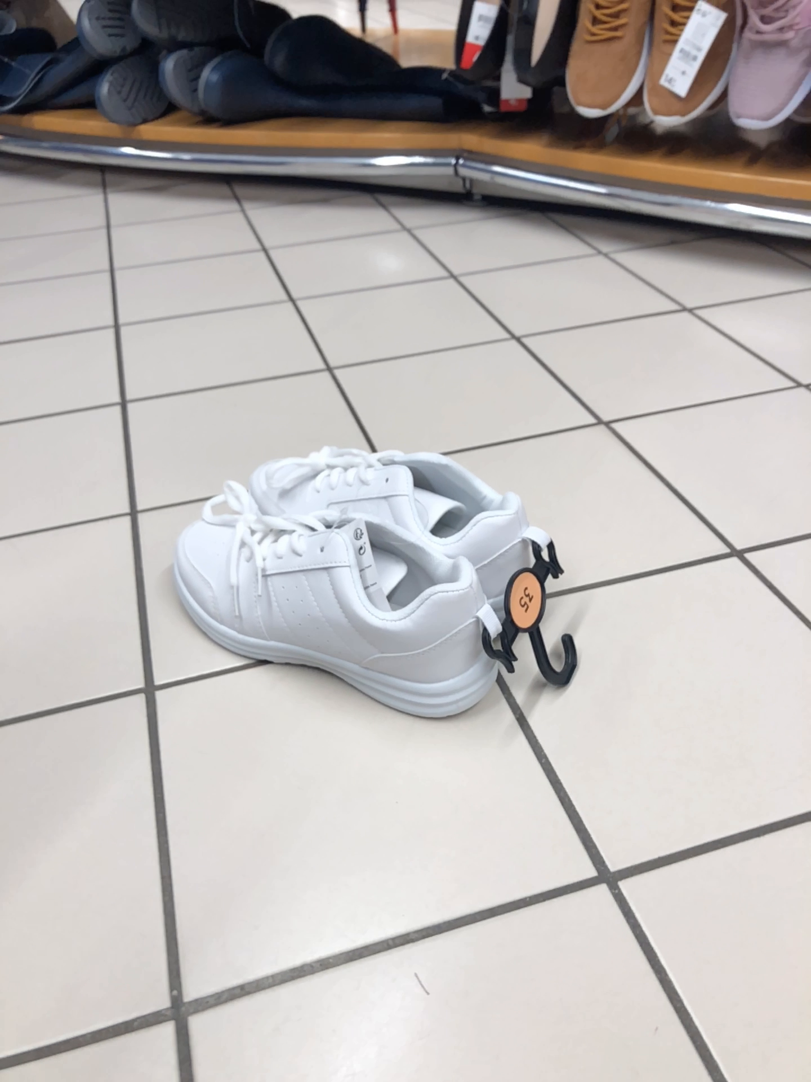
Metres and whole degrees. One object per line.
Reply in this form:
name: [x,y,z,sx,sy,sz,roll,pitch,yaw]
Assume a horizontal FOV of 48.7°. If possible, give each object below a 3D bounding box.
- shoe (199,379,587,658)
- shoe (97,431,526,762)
shoe: [-0.012,-0.025,0.599,0.240,0.089,0.091,20,41,28]
shoe: [-0.058,0.022,0.534,0.240,0.089,0.091,20,41,28]
